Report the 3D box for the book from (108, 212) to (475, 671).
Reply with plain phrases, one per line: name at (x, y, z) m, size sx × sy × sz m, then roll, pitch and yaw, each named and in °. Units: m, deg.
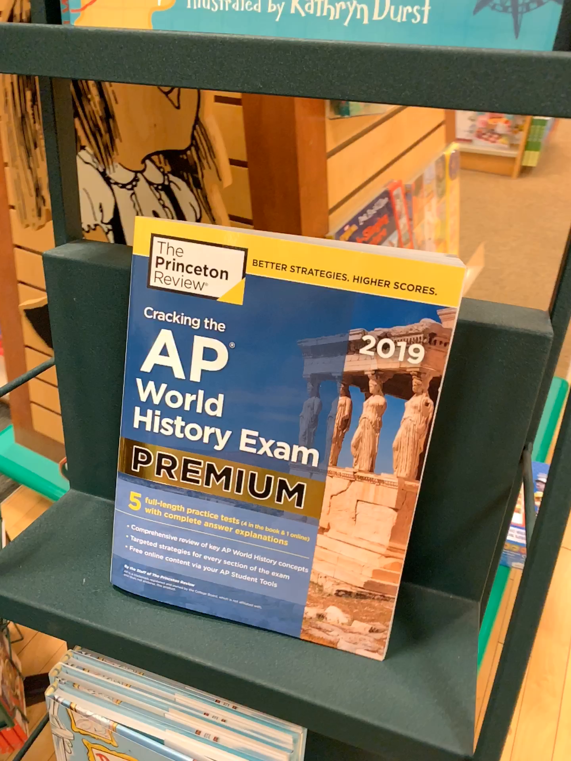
book at (-0.006, 0.036, 0.403) m, size 0.214 × 0.269 × 0.057 m, roll 10°, pitch 14°, yaw 14°
